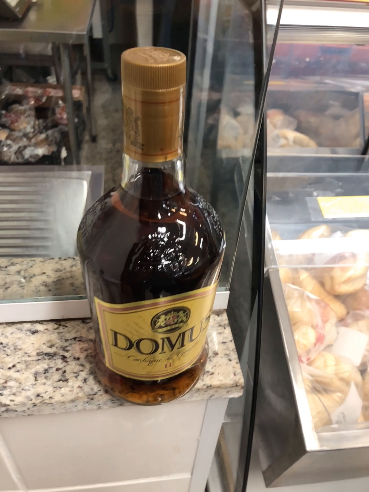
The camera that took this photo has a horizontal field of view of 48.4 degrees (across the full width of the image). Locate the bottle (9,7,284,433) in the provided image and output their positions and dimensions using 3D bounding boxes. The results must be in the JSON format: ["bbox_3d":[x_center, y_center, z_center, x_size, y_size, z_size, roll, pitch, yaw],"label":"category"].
[{"bbox_3d":[-0.032,-0.003,0.279,0.100,0.258,0.111,-13,43,-19],"label":"bottle"}]
